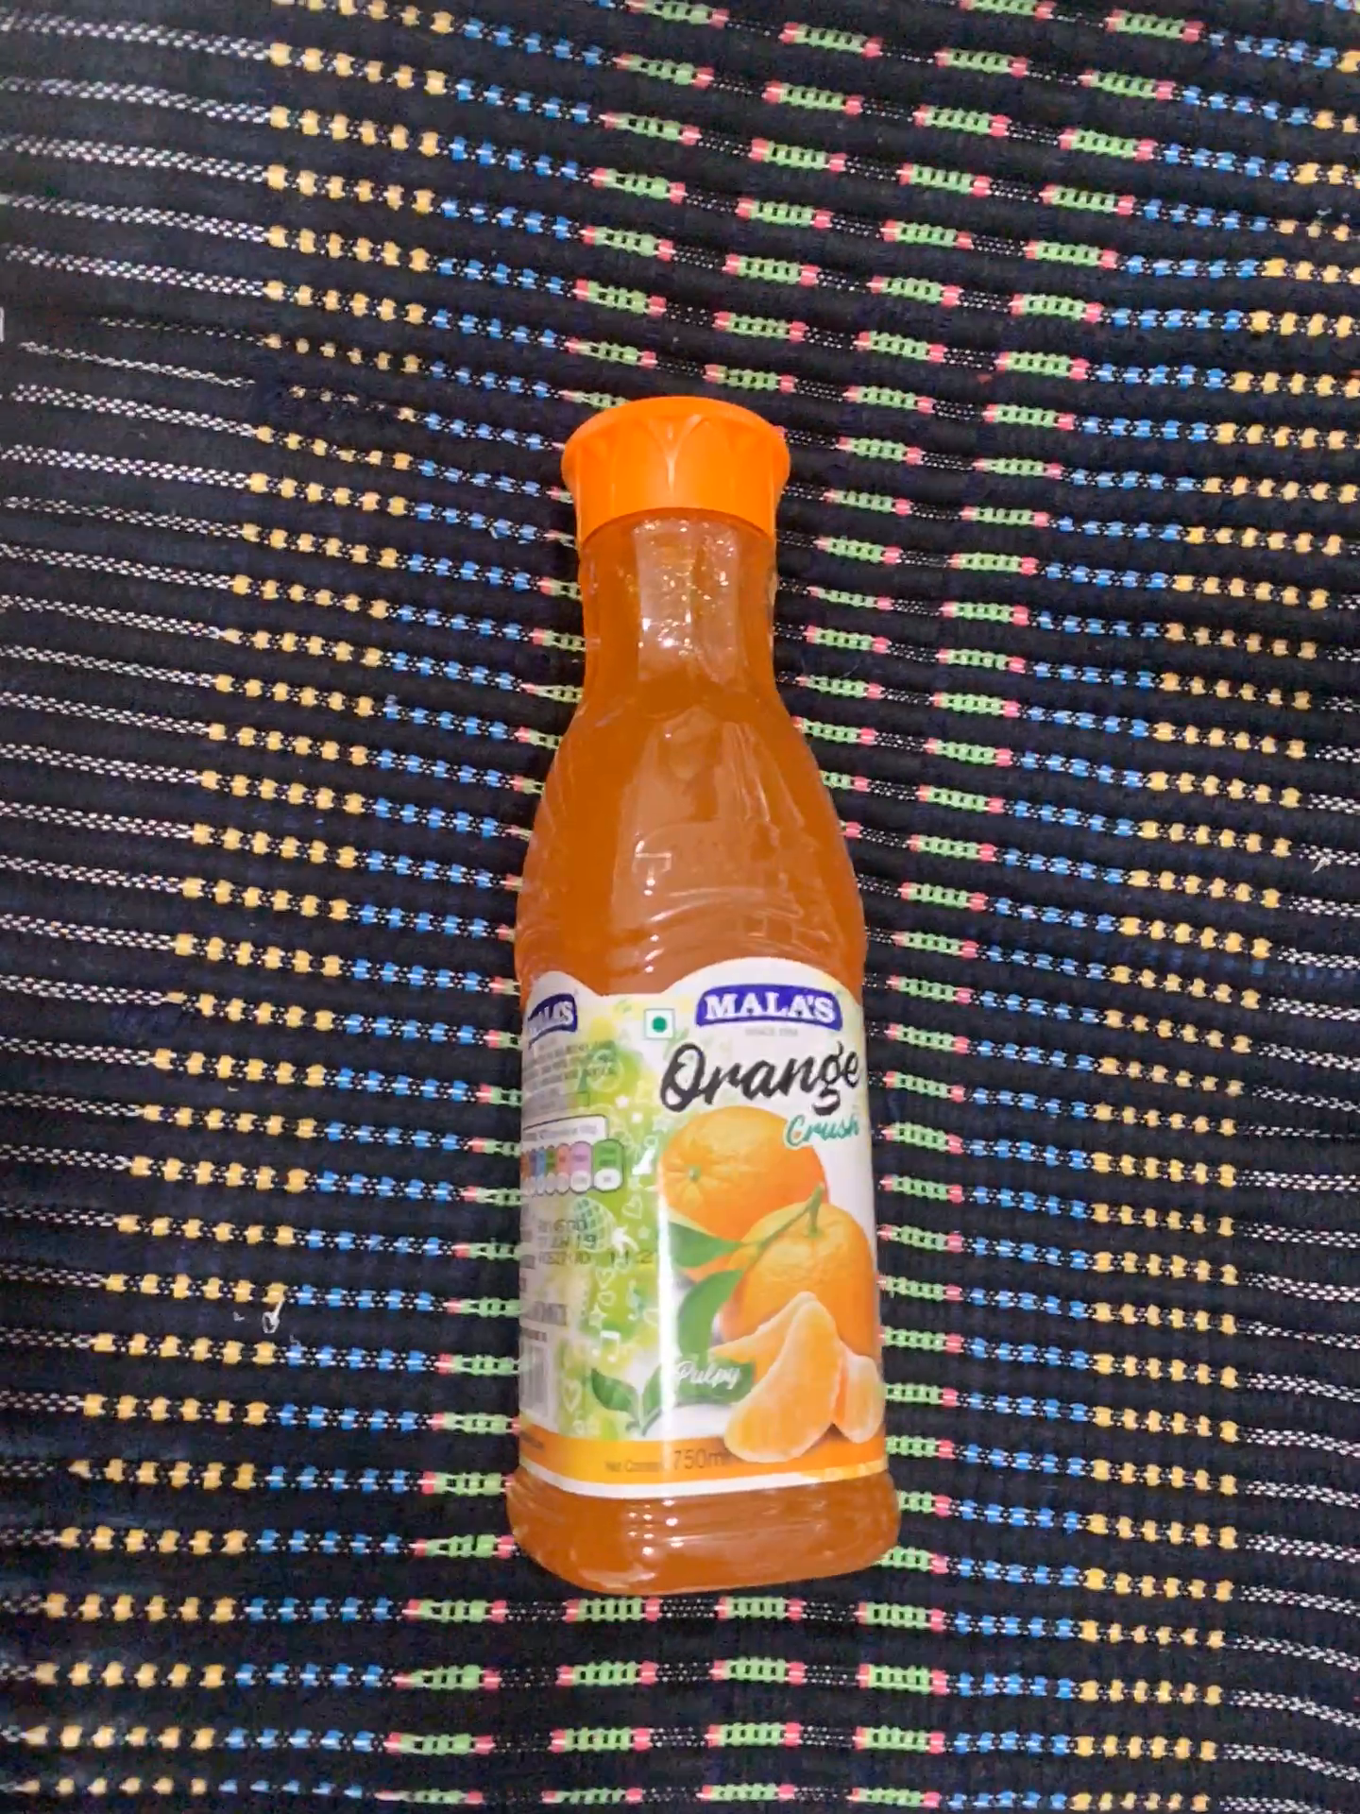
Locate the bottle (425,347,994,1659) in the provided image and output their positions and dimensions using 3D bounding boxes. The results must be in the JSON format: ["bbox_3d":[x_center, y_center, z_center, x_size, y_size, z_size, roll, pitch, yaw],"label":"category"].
[{"bbox_3d":[0.001,0.016,0.281,0.080,0.080,0.220,5,75,-19],"label":"bottle"}]
